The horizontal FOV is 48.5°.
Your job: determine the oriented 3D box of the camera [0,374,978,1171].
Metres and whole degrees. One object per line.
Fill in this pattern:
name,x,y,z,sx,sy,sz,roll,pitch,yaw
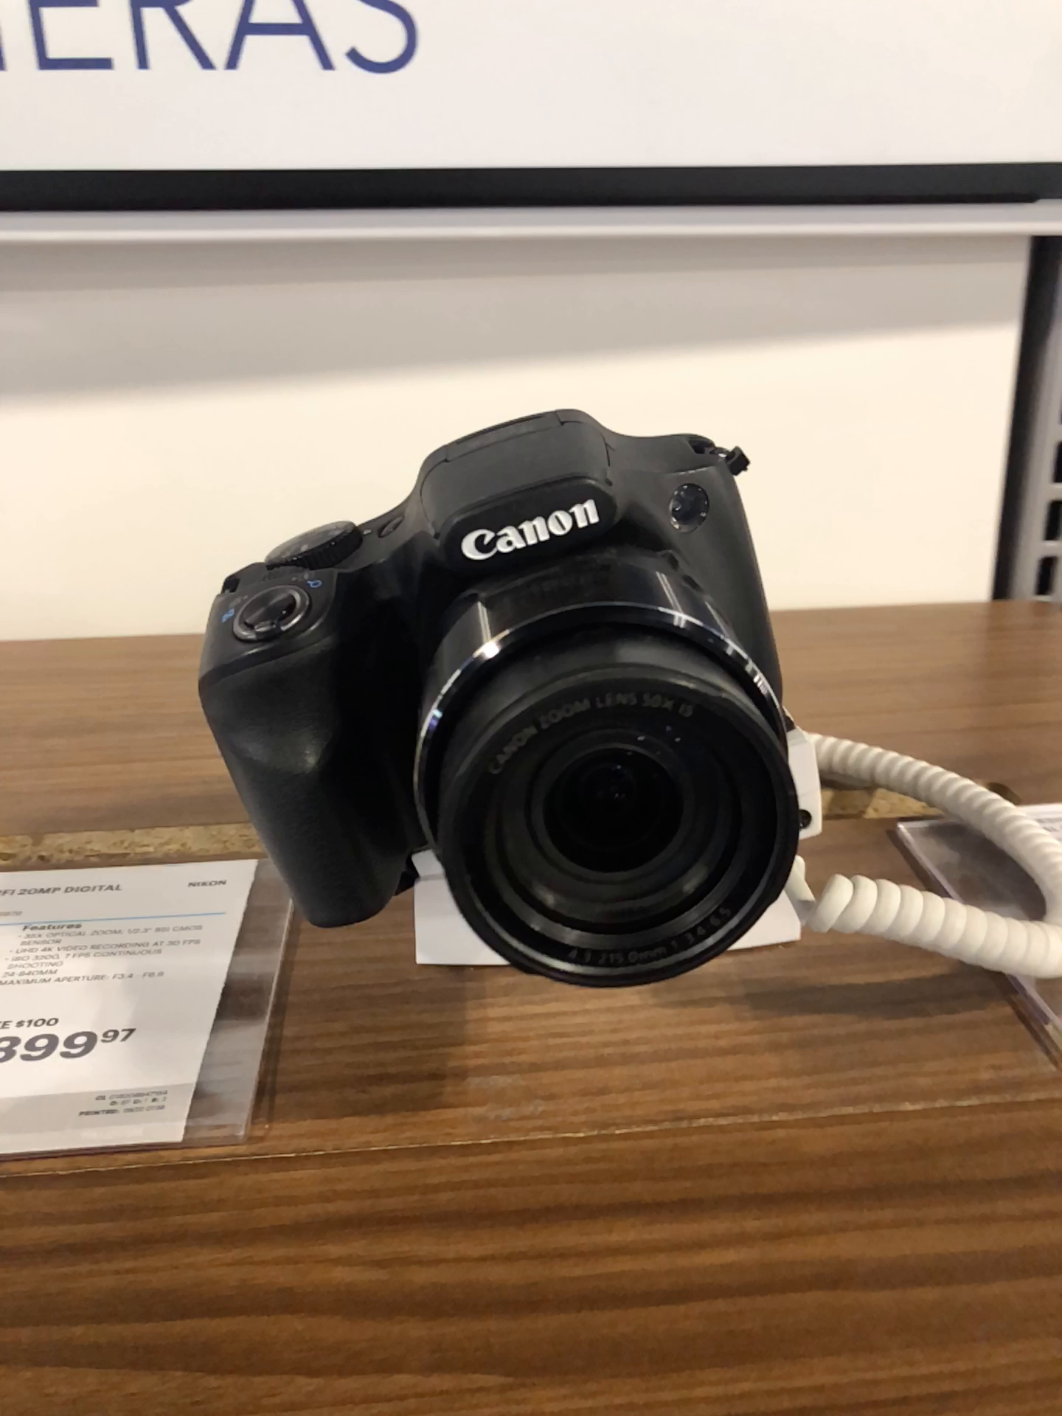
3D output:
camera,-0.011,-0.005,0.235,0.130,0.070,0.141,-18,23,-1
